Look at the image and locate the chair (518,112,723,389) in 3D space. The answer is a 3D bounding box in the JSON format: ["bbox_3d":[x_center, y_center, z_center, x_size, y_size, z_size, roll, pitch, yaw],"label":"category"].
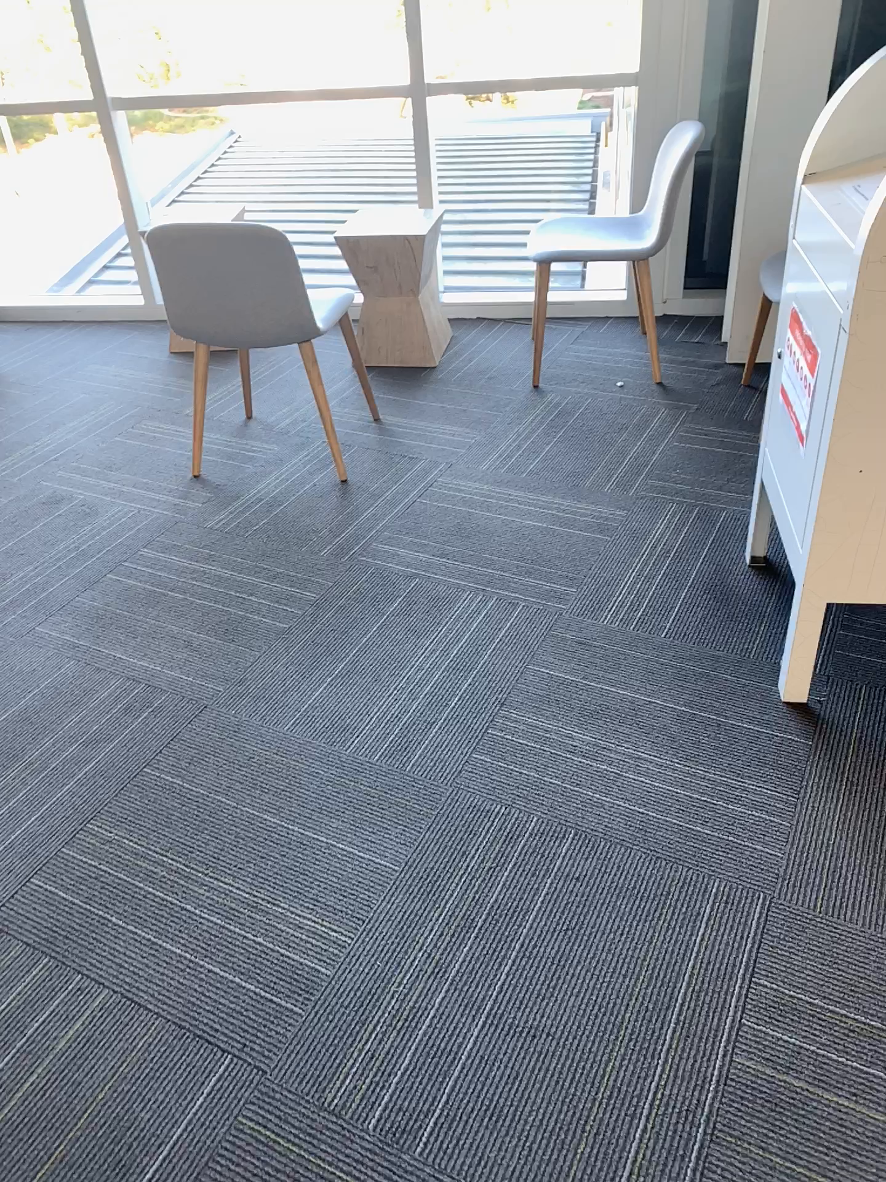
[{"bbox_3d":[0.580,-1.192,3.167,0.600,0.745,0.644,1,35,7],"label":"chair"}]

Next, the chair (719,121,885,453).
[{"bbox_3d":[1.219,-0.904,2.694,0.600,0.765,0.644,1,35,7],"label":"chair"}]

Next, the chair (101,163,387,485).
[{"bbox_3d":[-0.538,-0.813,2.750,0.560,0.765,0.603,2,35,9],"label":"chair"}]
